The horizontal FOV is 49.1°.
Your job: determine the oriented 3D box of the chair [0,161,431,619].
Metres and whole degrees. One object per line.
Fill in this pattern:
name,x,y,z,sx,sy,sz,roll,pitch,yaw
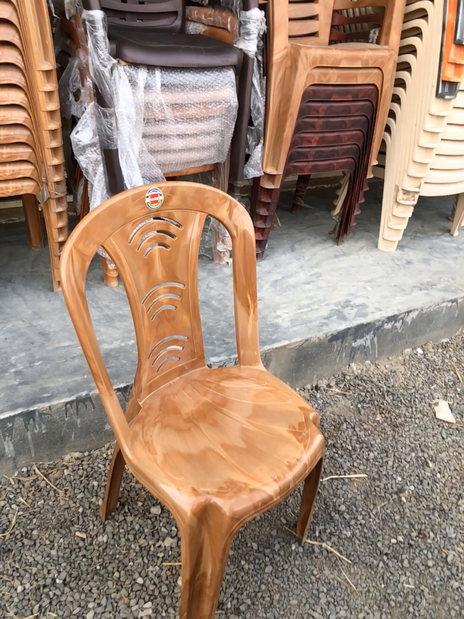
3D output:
chair,-0.081,0.185,1.079,0.580,0.766,0.543,31,40,33
